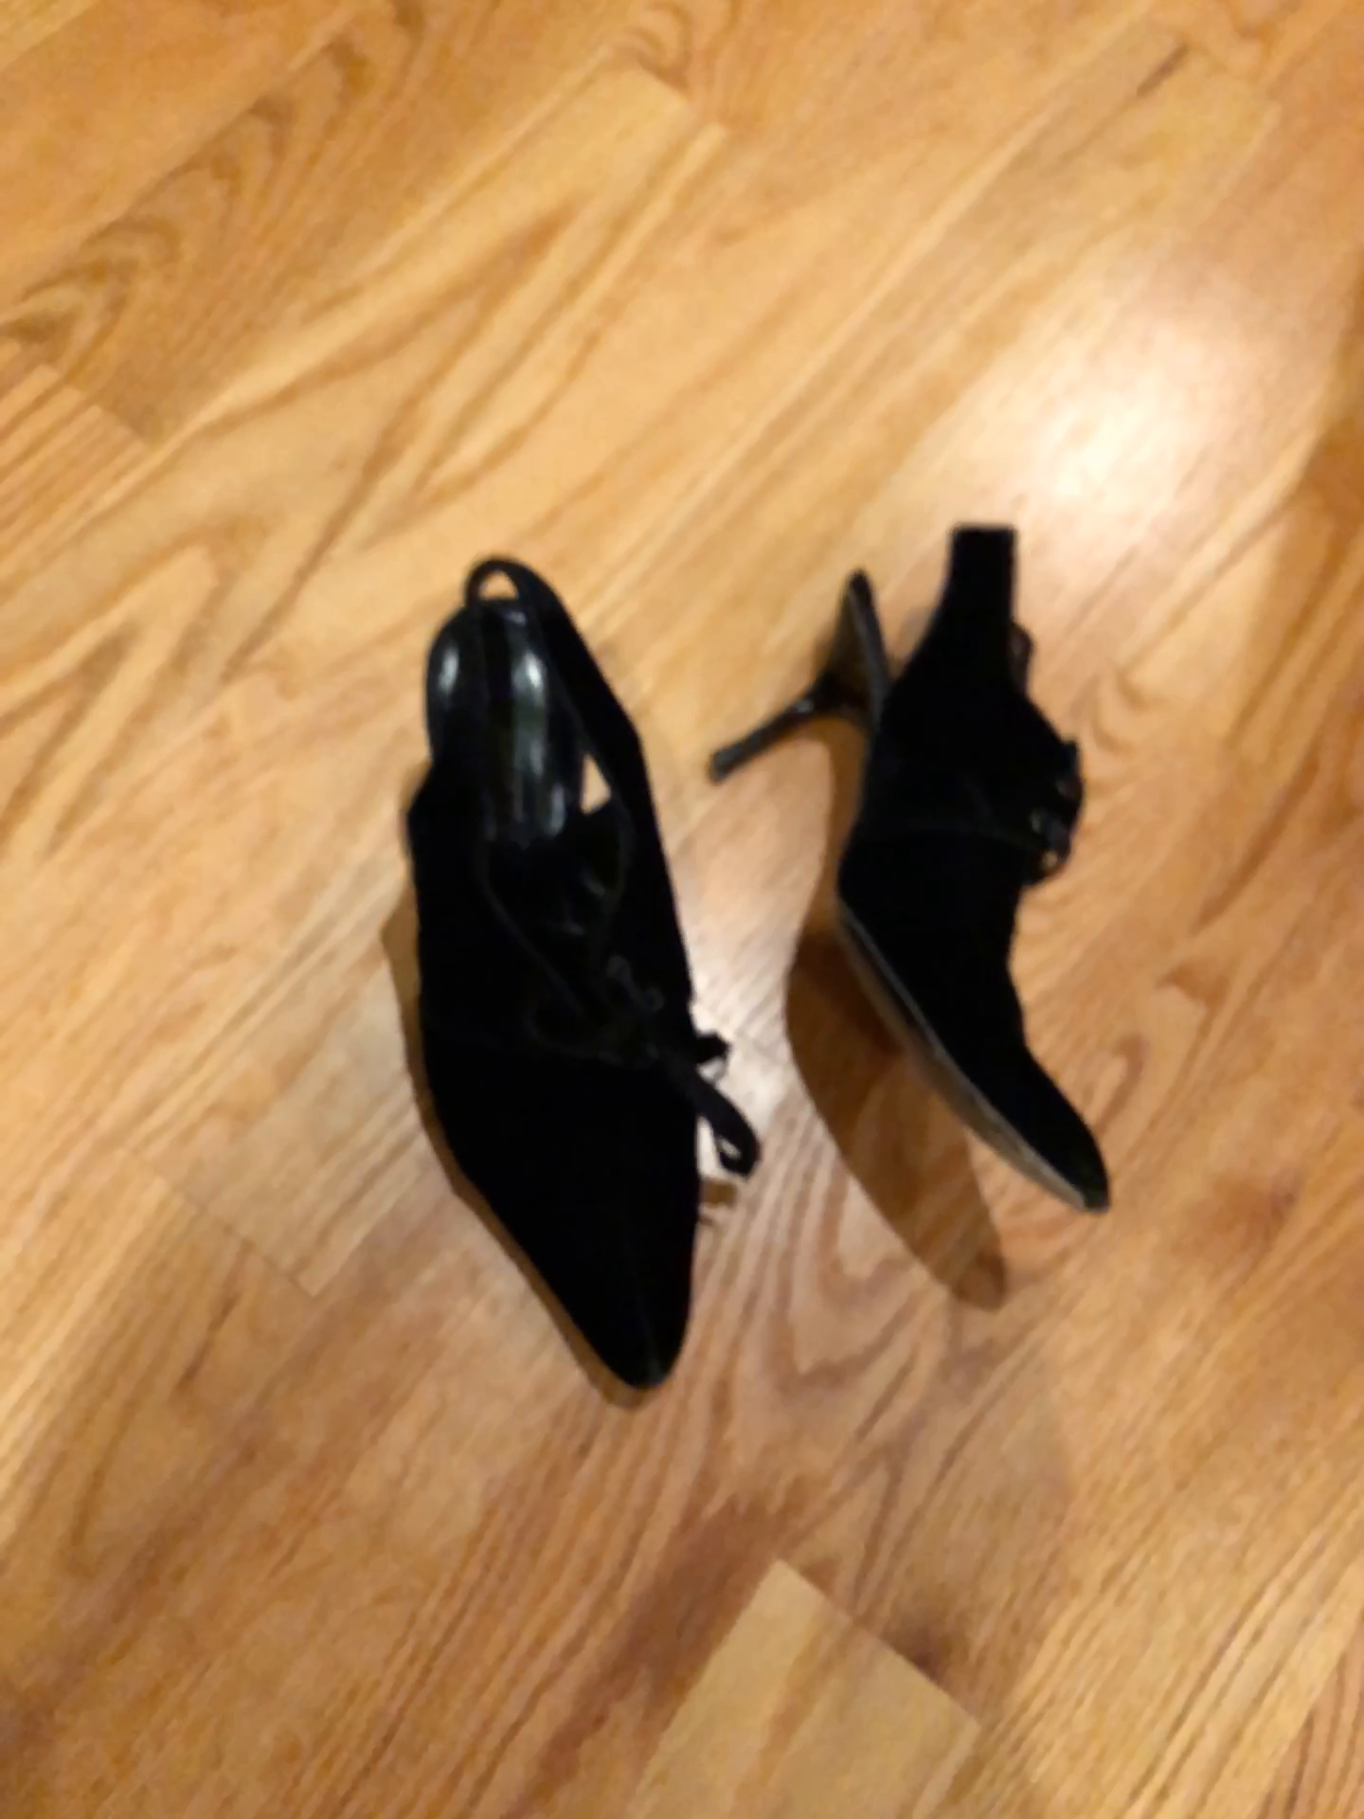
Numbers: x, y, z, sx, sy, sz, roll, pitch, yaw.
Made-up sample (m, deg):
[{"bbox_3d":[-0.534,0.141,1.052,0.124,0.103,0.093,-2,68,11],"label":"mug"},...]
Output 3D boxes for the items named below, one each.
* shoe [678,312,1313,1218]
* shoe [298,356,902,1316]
[{"bbox_3d":[0.083,-0.045,0.480,0.118,0.107,0.253,-7,73,-9],"label":"shoe"},{"bbox_3d":[-0.035,-0.020,0.465,0.107,0.117,0.252,-11,73,-12],"label":"shoe"}]
